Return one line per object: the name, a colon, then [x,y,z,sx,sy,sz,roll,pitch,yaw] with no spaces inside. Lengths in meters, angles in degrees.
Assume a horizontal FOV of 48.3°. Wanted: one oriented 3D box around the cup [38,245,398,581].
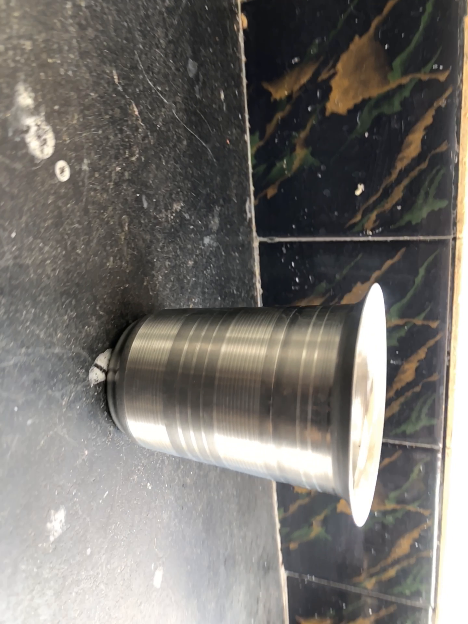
cup: [0.007,0.034,0.219,0.090,0.109,0.090,3,90,-68]
